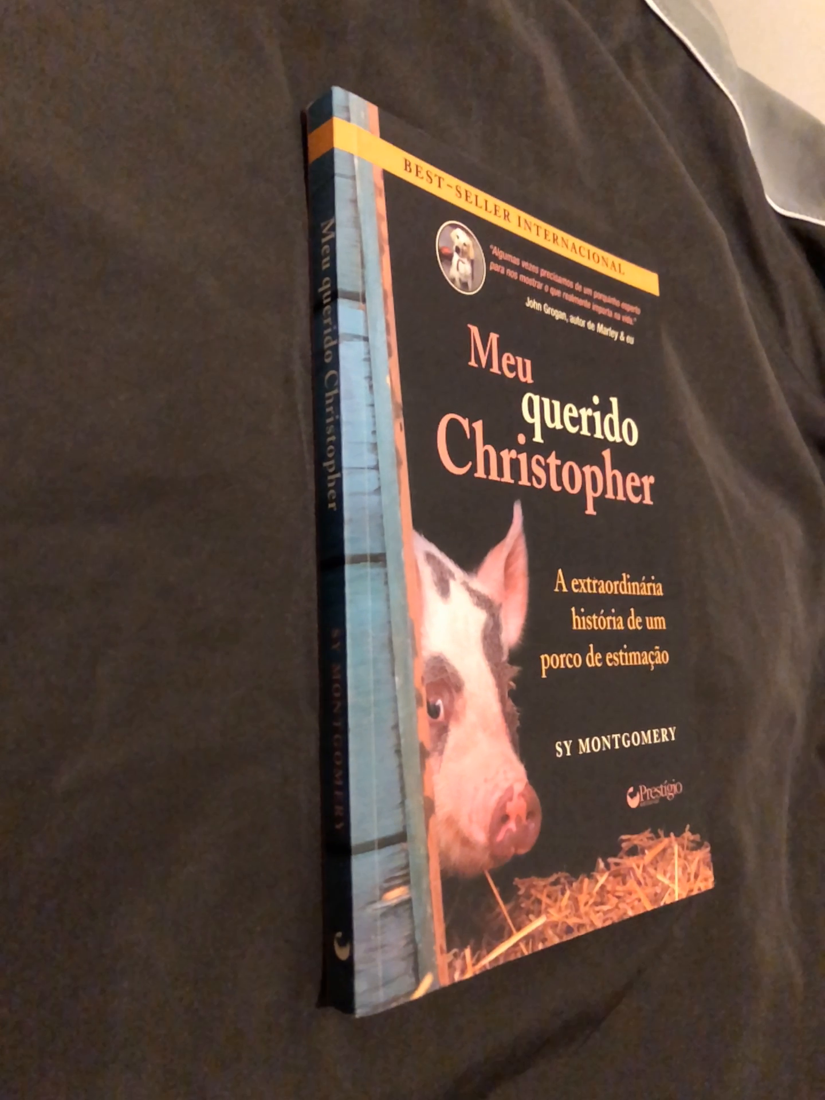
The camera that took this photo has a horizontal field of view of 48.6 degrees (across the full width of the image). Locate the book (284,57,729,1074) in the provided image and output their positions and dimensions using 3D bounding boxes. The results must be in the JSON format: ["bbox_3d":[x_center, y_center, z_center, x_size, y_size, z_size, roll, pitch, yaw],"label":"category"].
[{"bbox_3d":[0.039,0.002,0.266,0.171,0.020,0.220,3,83,-47],"label":"book"}]
